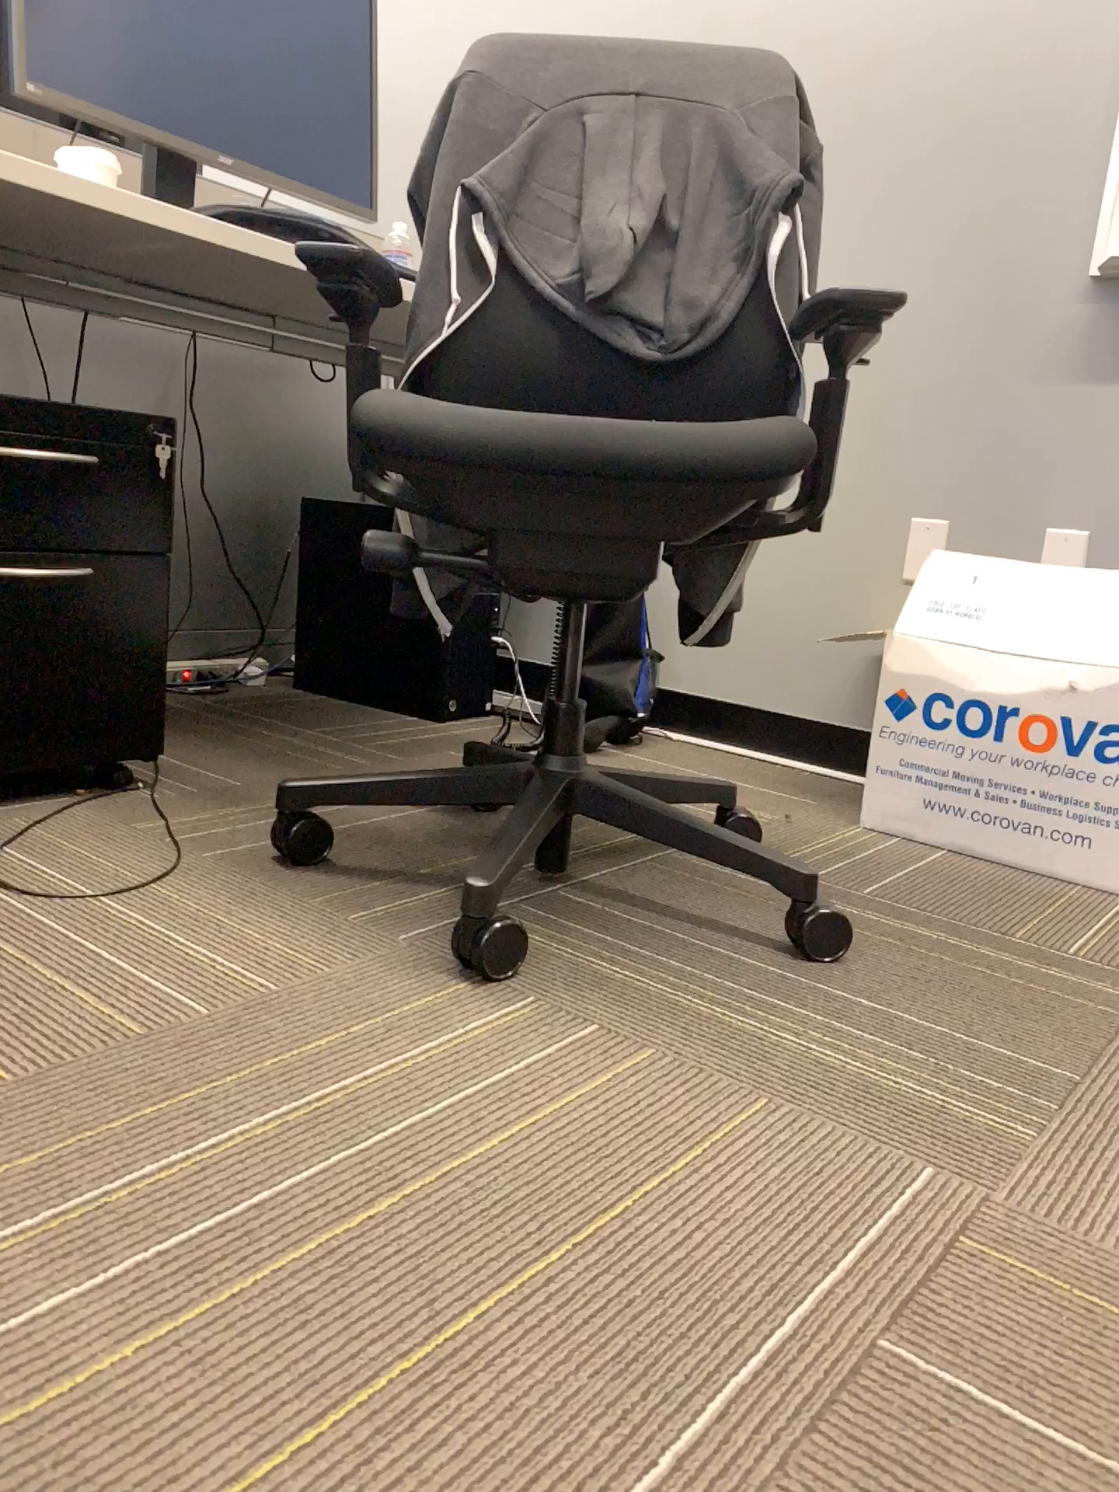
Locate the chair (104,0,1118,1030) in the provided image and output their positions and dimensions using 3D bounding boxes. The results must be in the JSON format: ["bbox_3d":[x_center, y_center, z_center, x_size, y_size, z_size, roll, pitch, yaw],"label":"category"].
[{"bbox_3d":[0.027,-0.395,1.395,0.750,1.077,0.883,7,11,3],"label":"chair"}]
